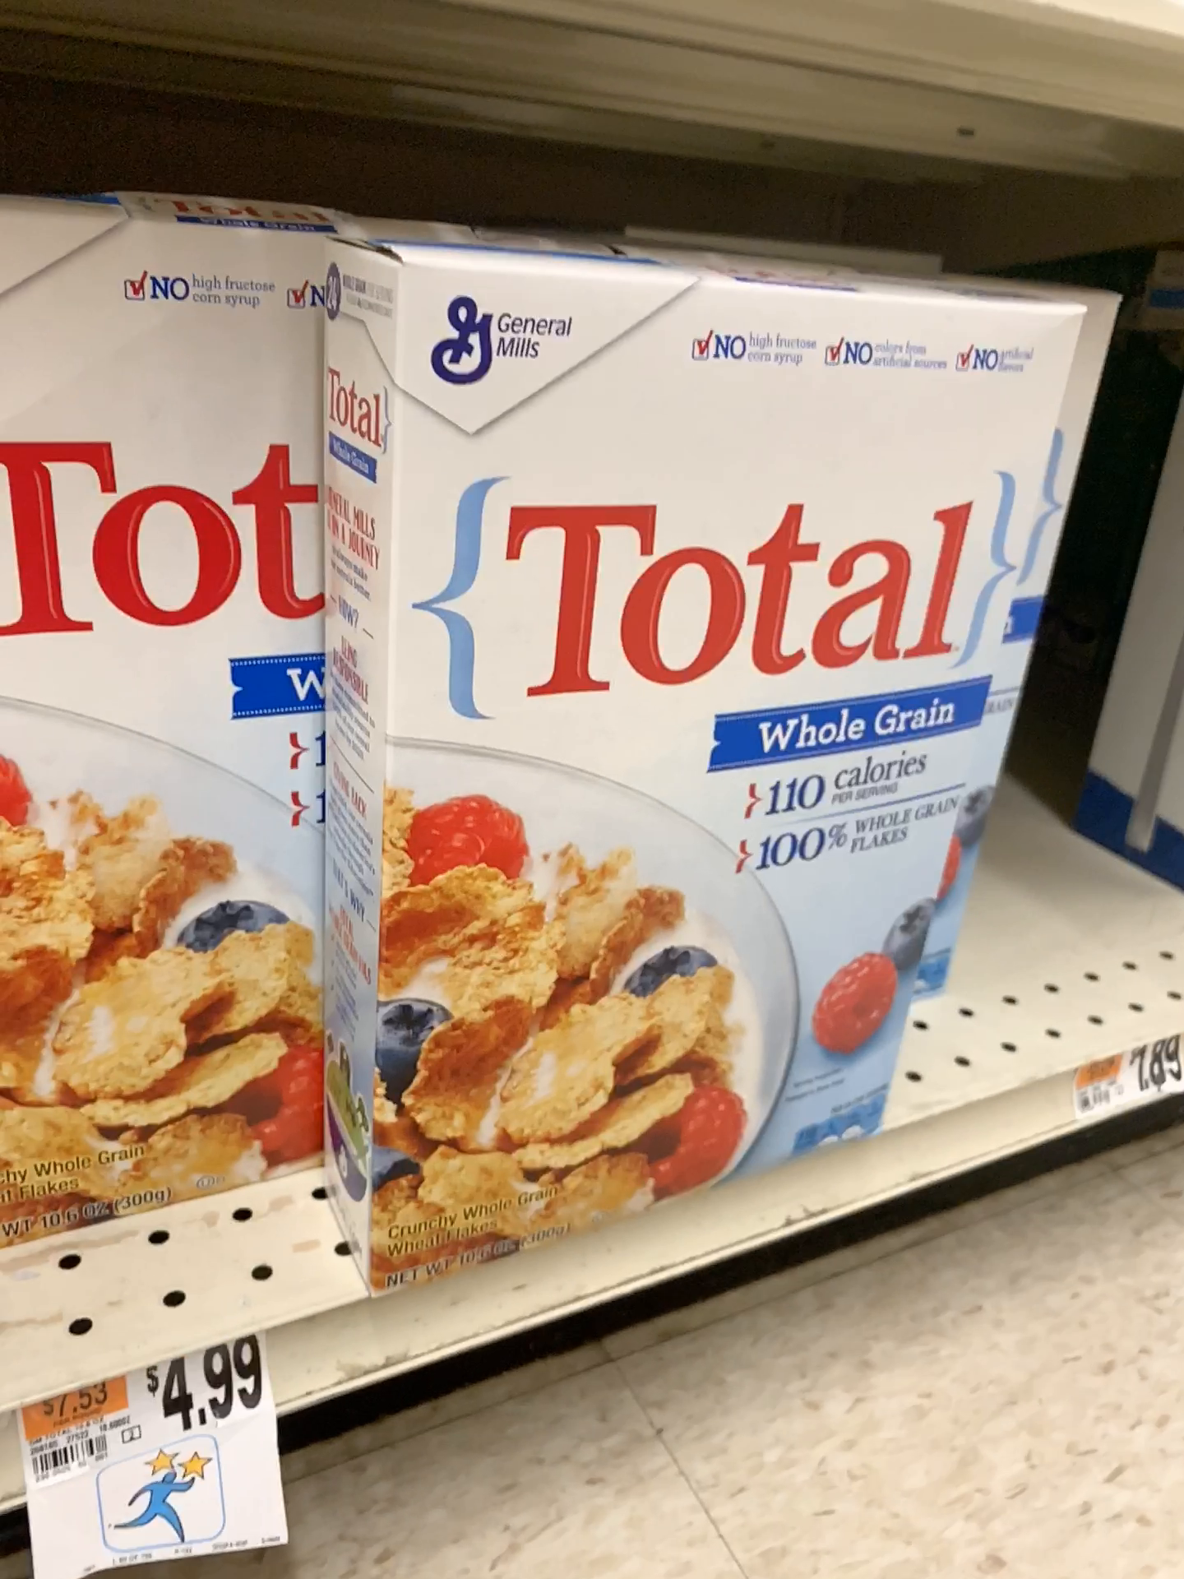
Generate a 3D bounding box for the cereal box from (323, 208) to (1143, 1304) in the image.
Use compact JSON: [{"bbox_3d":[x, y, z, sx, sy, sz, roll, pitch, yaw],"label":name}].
[{"bbox_3d":[0.029,-0.003,0.351,0.200,0.278,0.050,-8,28,-26],"label":"cereal box"}]
